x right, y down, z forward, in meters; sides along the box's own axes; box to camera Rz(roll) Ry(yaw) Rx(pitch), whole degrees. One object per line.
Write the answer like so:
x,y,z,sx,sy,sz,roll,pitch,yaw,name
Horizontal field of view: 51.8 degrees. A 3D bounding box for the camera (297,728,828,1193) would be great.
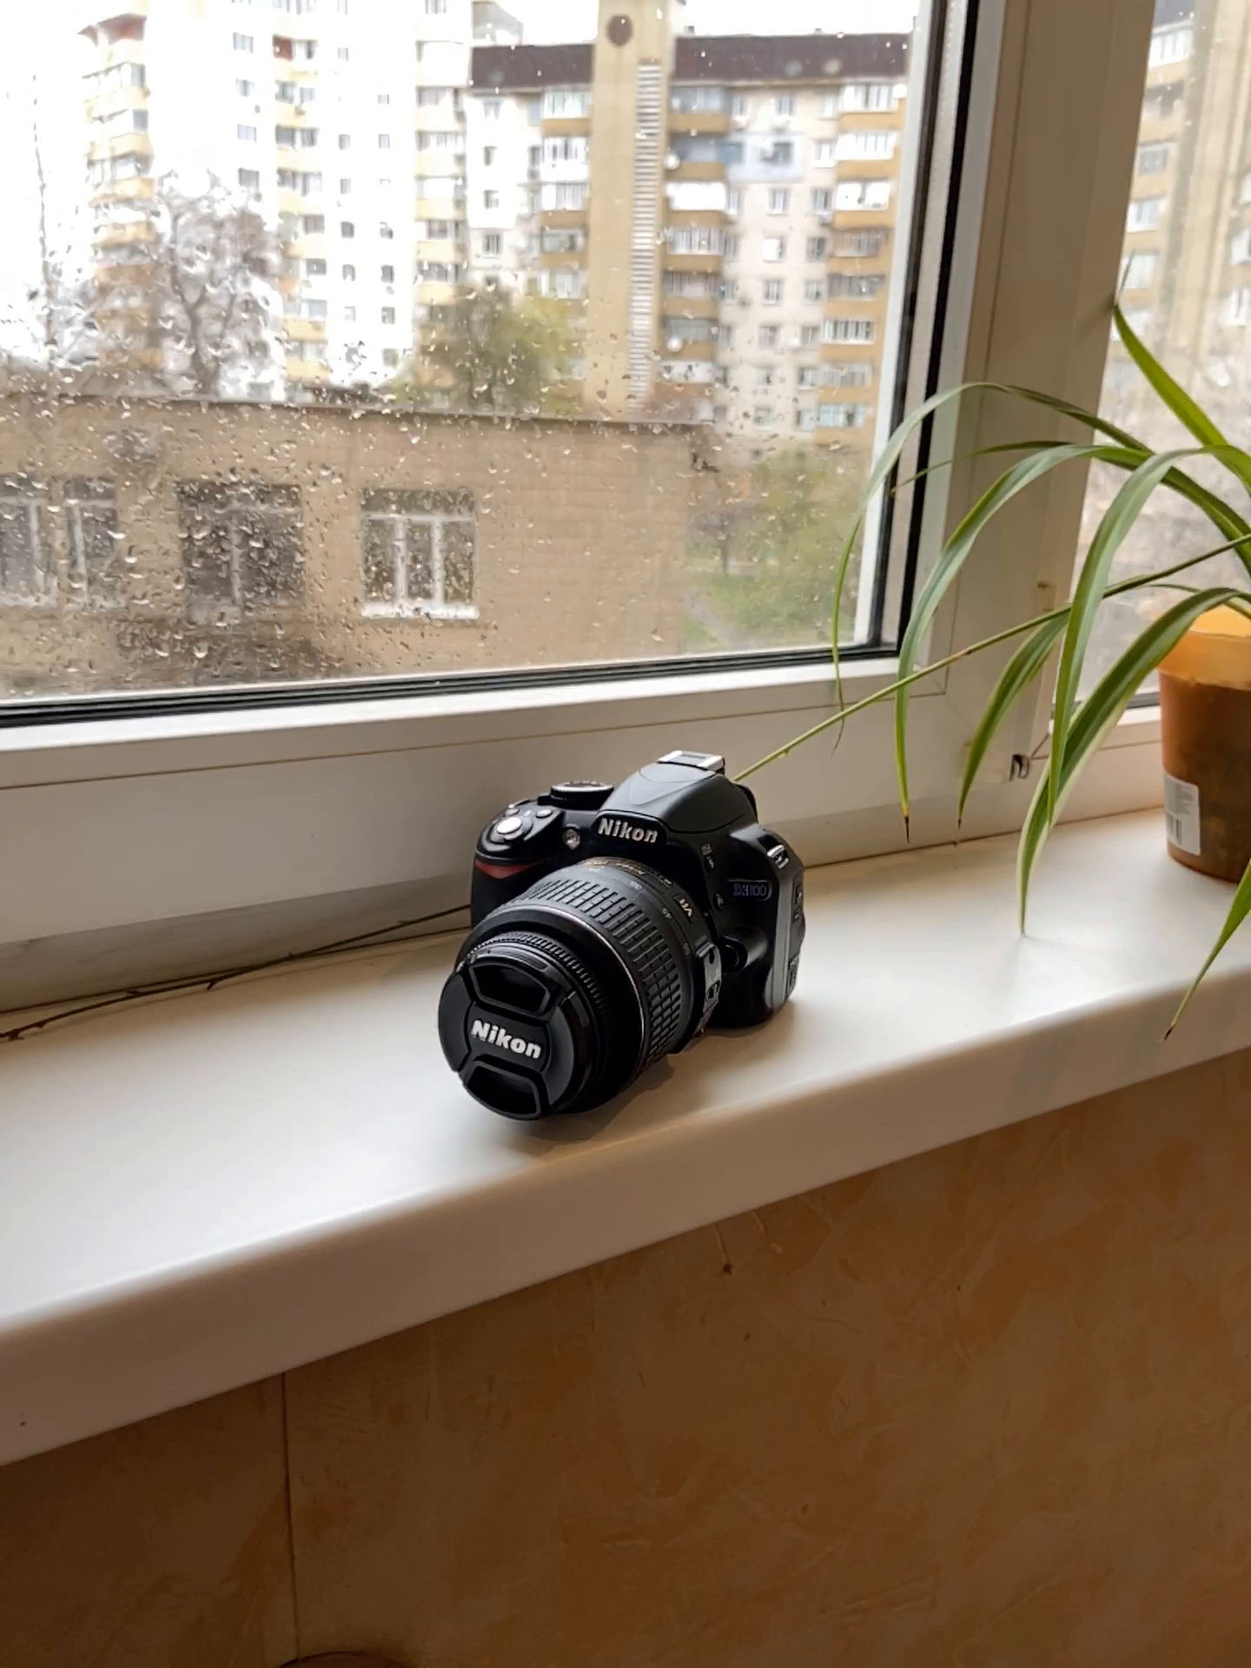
-0.014,0.031,0.457,0.121,0.092,0.159,10,20,24,camera
